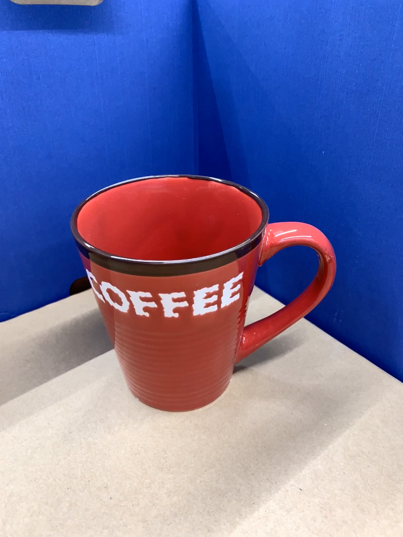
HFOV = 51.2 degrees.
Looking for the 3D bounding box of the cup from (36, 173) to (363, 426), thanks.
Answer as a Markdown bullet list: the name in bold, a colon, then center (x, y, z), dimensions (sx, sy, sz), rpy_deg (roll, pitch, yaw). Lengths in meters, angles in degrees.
- **cup**: center (0.000, 0.010, 0.227), dimensions (0.125, 0.092, 0.101), rpy_deg (2, 31, 2)
